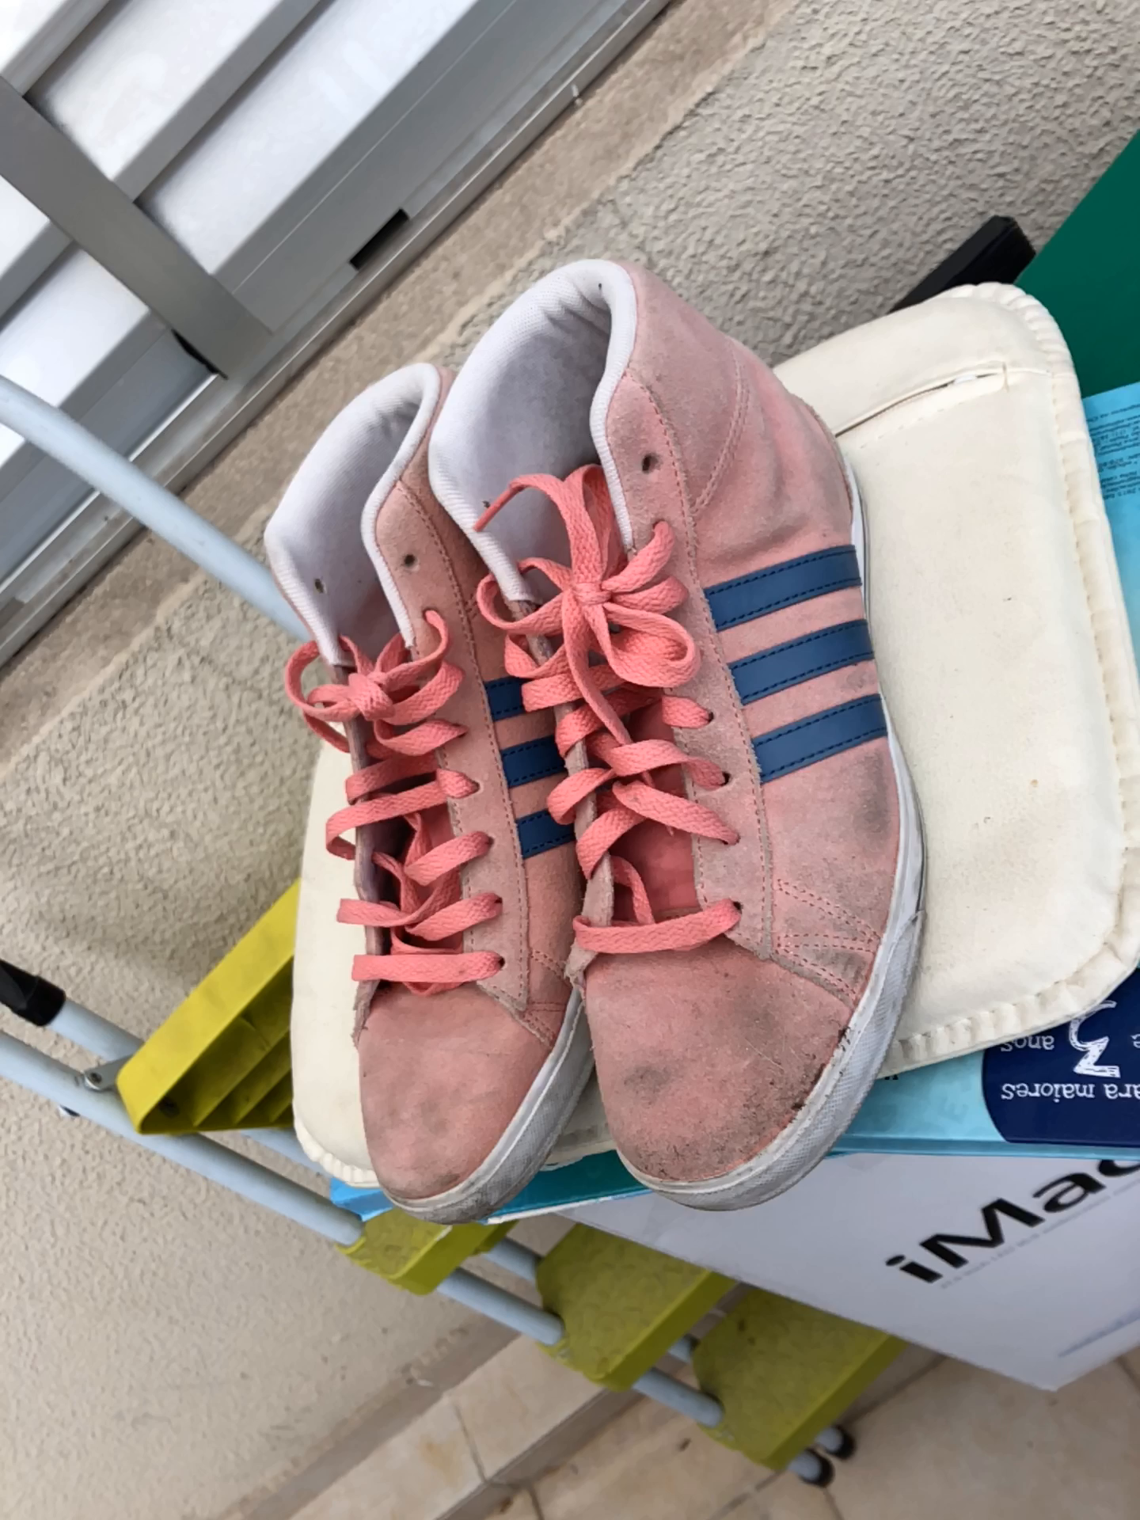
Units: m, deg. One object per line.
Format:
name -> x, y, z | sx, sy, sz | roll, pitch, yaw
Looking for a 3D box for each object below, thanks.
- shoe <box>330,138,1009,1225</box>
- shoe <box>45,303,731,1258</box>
shoe -> 0.036, -0.018, 0.346 | 0.100, 0.129, 0.251 | -16, 54, 31
shoe -> -0.038, 0.008, 0.399 | 0.100, 0.129, 0.251 | -9, 58, 35
